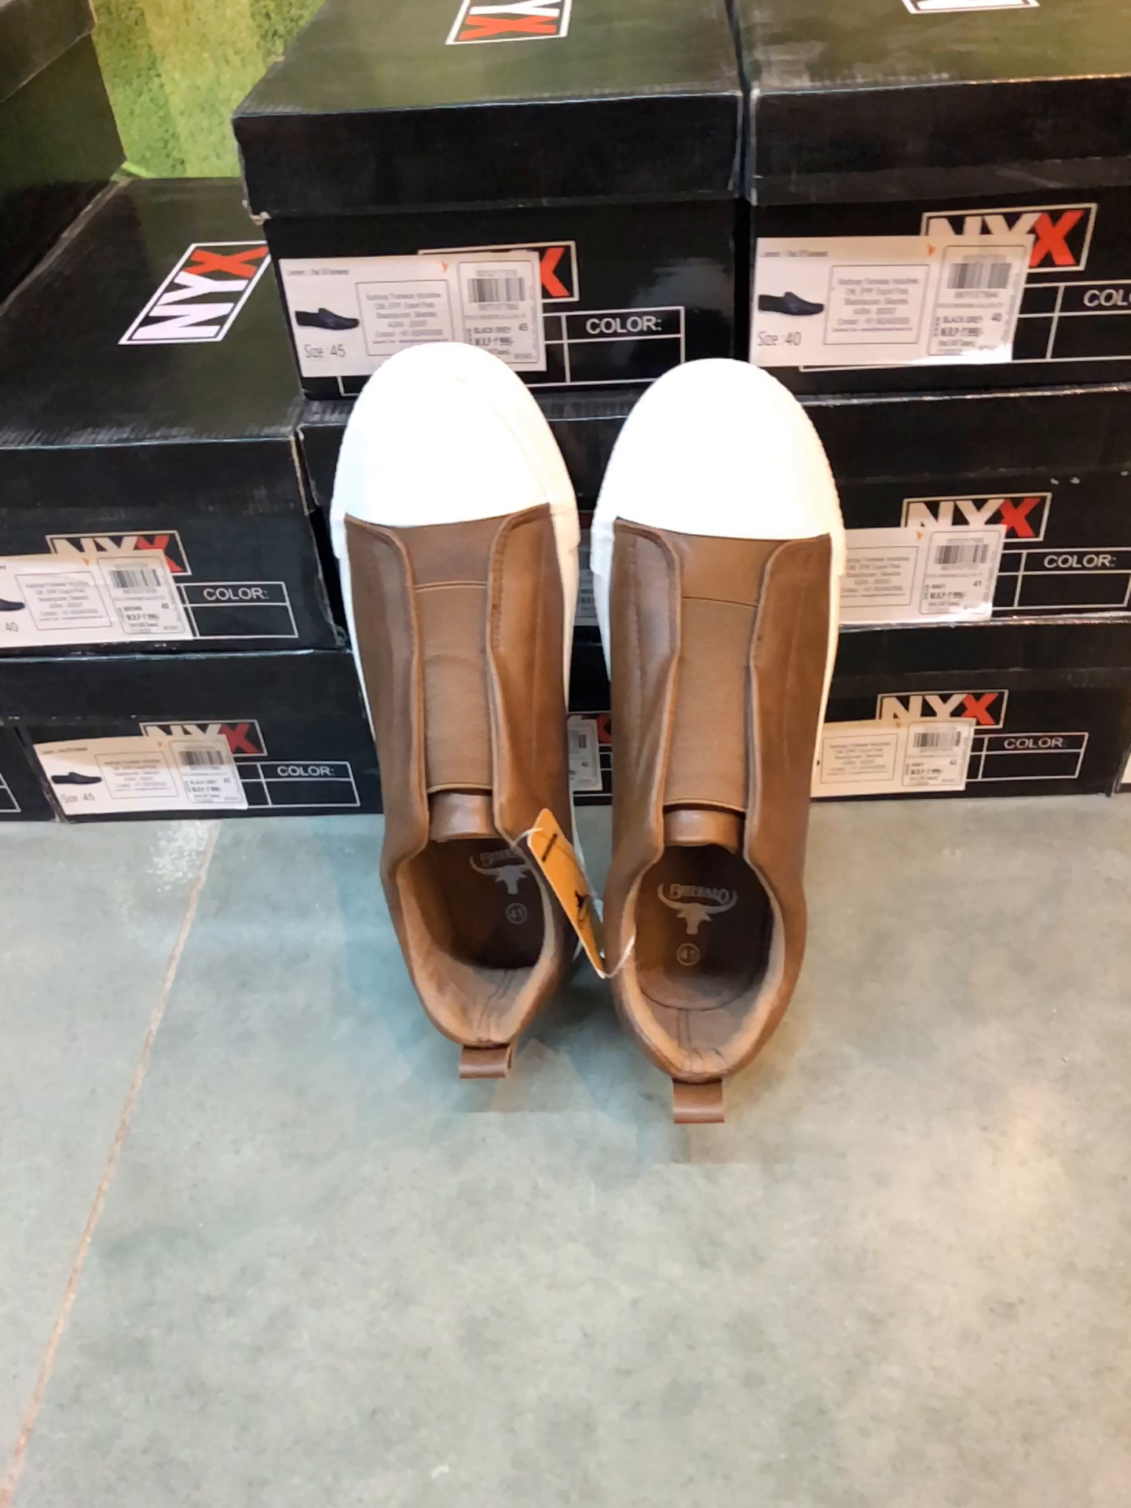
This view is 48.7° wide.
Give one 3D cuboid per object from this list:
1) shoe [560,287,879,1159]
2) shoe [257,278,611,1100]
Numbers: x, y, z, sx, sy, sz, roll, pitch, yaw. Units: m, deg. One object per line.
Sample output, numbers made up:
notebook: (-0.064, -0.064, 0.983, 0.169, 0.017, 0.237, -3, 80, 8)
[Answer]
shoe: (0.053, -0.011, 0.443, 0.096, 0.272, 0.101, 0, 6, 6)
shoe: (-0.040, -0.022, 0.466, 0.098, 0.269, 0.103, -3, 6, 4)
